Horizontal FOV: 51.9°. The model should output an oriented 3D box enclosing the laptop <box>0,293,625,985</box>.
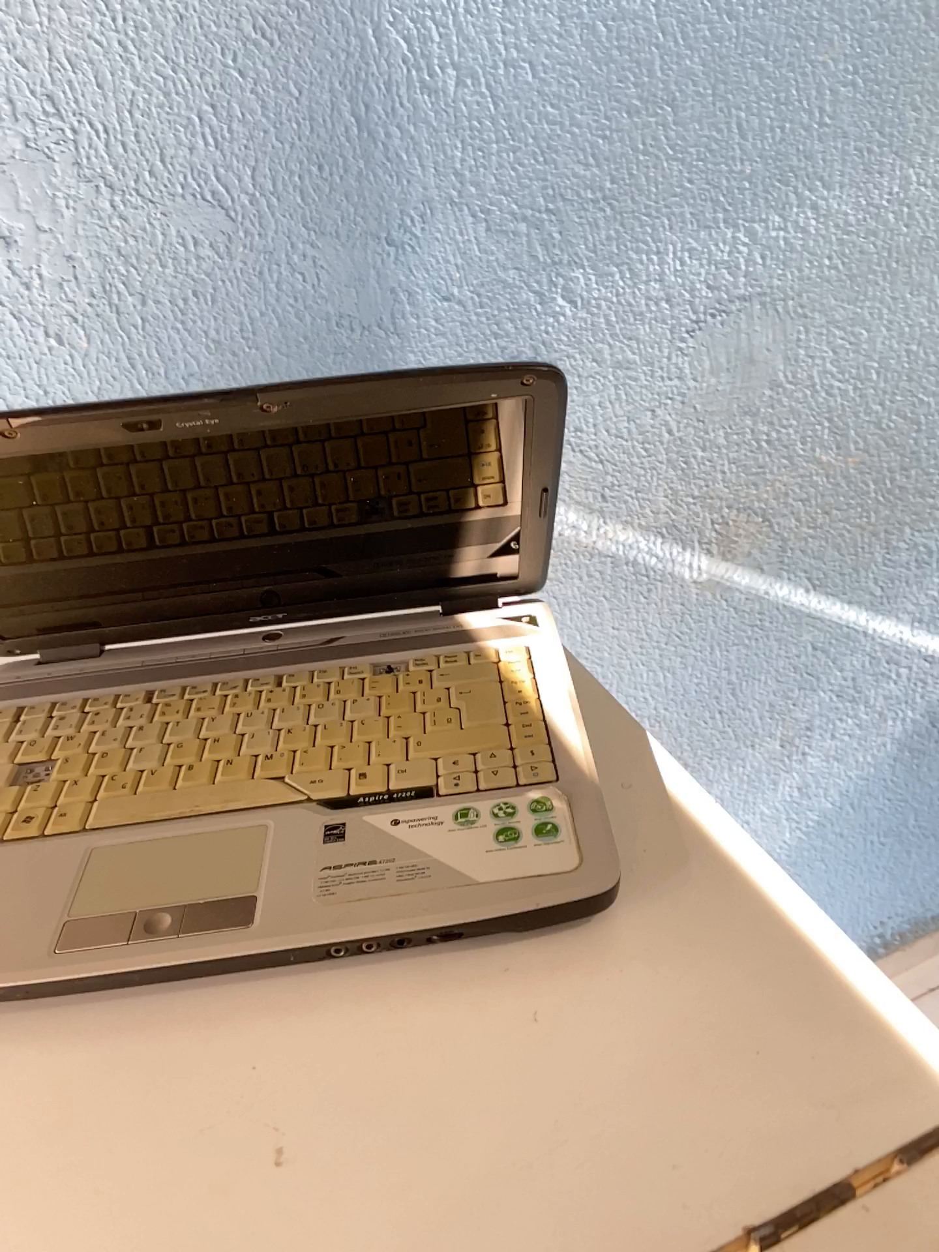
[{"bbox_3d":[-0.118,-0.012,0.439,0.328,0.179,0.226,-7,32,0],"label":"laptop"}]
